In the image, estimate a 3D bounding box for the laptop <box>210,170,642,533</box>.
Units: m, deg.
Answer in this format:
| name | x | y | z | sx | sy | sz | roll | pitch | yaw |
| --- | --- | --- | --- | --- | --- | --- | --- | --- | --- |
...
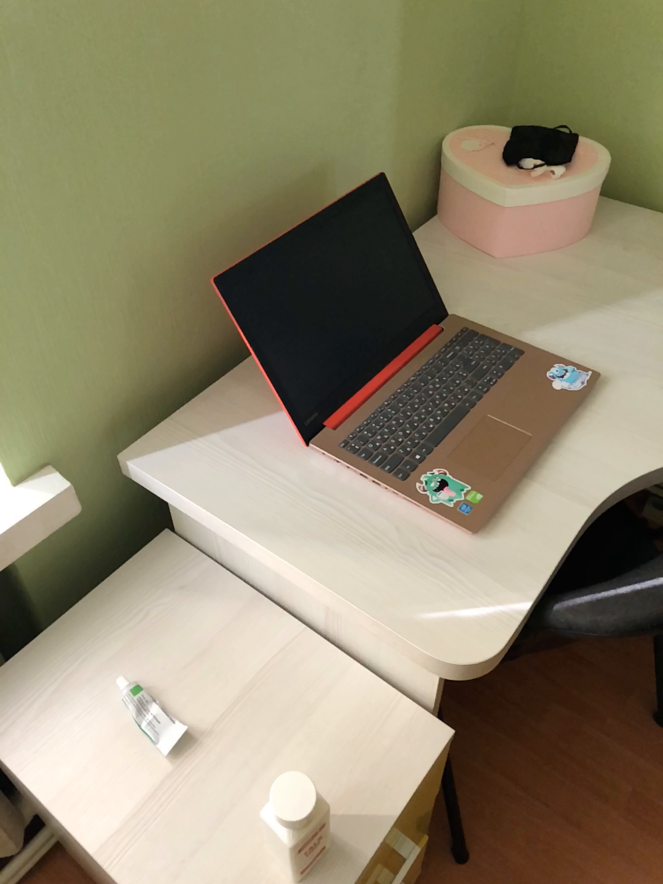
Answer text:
| name | x | y | z | sx | sy | sz | roll | pitch | yaw |
| --- | --- | --- | --- | --- | --- | --- | --- | --- | --- |
| laptop | 0.126 | -0.154 | 0.987 | 0.402 | 0.198 | 0.376 | 28 | 51 | 26 |
